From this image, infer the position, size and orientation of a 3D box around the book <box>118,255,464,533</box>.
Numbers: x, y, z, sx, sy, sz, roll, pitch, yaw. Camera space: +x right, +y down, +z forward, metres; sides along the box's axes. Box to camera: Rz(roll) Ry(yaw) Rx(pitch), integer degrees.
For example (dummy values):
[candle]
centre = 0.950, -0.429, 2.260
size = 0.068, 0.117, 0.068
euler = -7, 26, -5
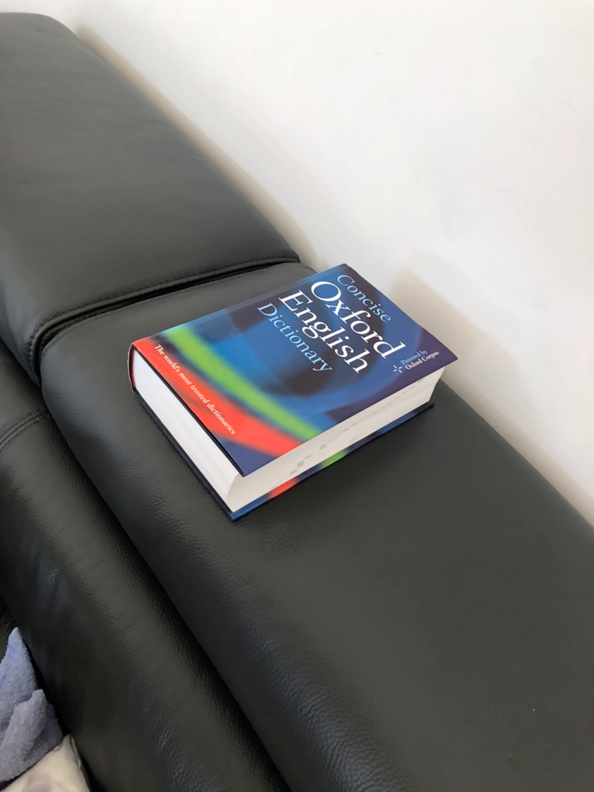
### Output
[book]
centre = -0.003, -0.019, 0.585
size = 0.251, 0.070, 0.170
euler = -26, 59, -33
